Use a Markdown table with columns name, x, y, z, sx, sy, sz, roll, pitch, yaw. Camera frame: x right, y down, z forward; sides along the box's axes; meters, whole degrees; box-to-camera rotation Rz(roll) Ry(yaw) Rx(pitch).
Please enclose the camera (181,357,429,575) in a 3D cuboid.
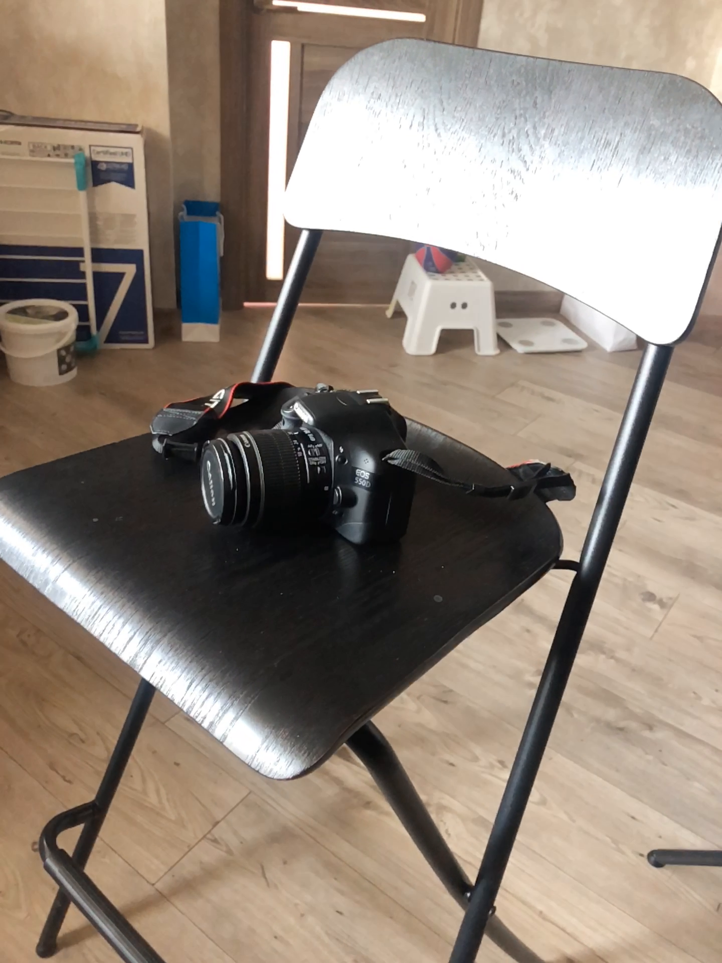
| name | x | y | z | sx | sy | sz | roll | pitch | yaw |
| --- | --- | --- | --- | --- | --- | --- | --- | --- | --- |
| camera | -0.046 | -0.018 | 0.585 | 0.140 | 0.092 | 0.121 | -10 | 35 | -24 |
